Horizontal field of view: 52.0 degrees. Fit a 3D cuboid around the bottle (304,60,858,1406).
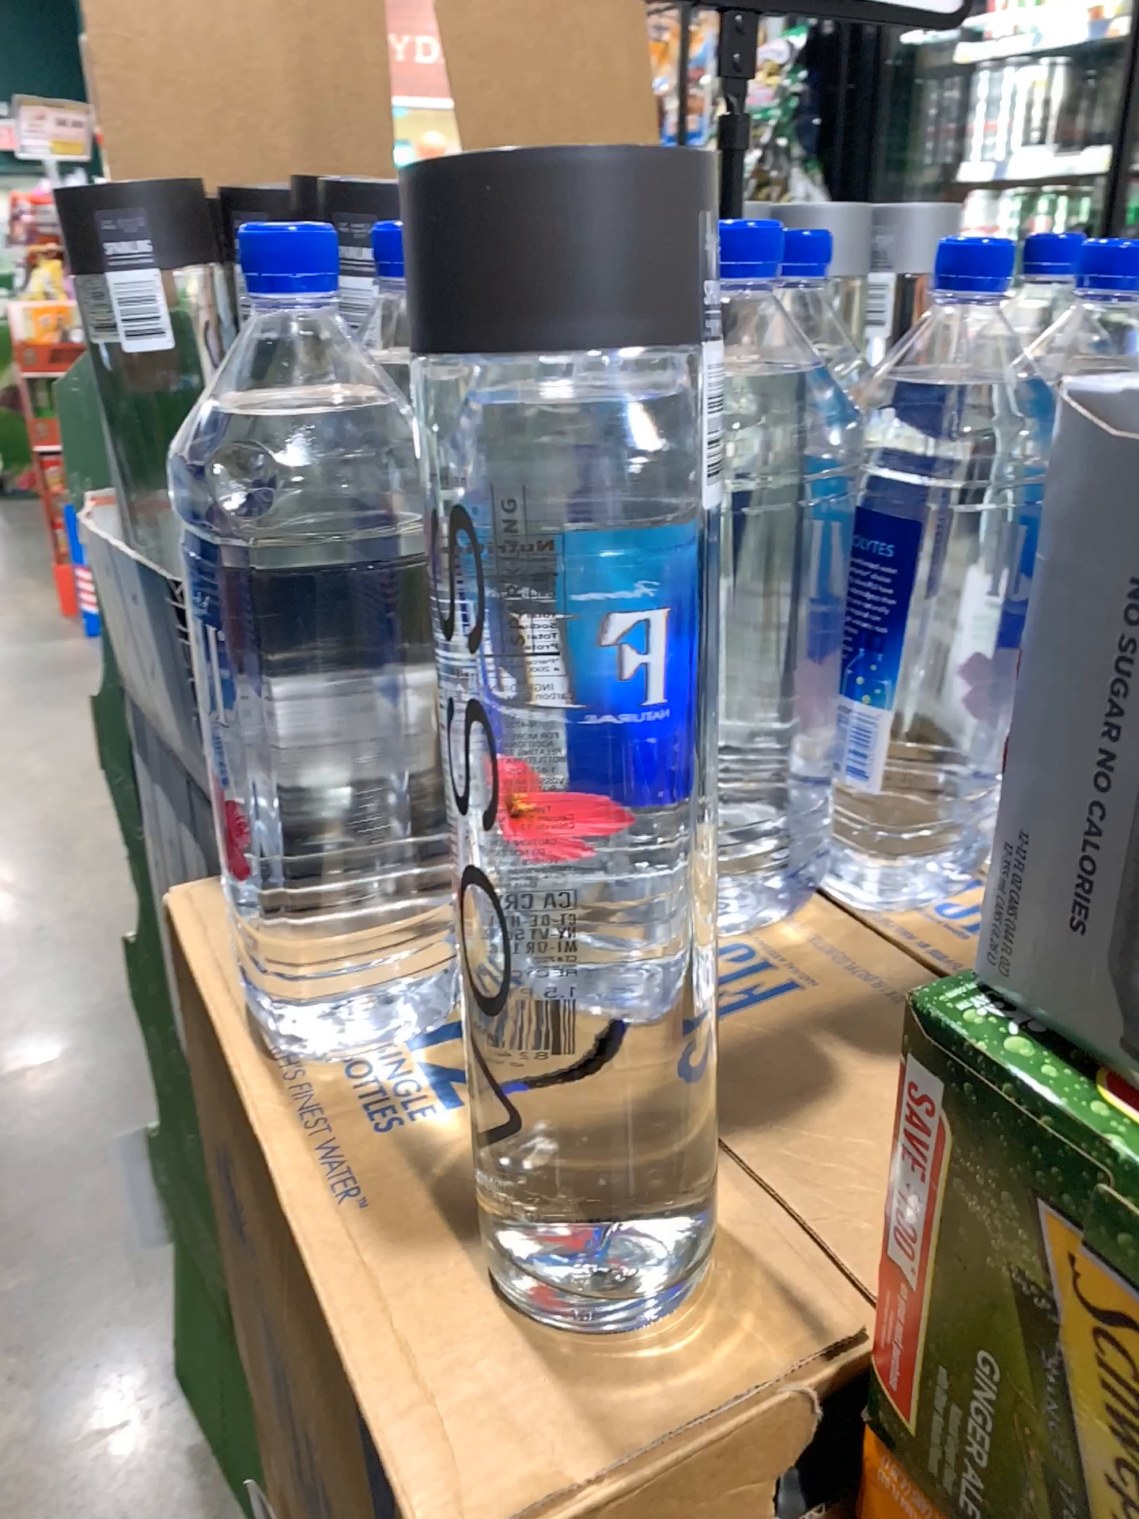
[{"bbox_3d":[0.002,0.004,0.286,0.080,0.289,0.080,-1,22,0],"label":"bottle"}]
